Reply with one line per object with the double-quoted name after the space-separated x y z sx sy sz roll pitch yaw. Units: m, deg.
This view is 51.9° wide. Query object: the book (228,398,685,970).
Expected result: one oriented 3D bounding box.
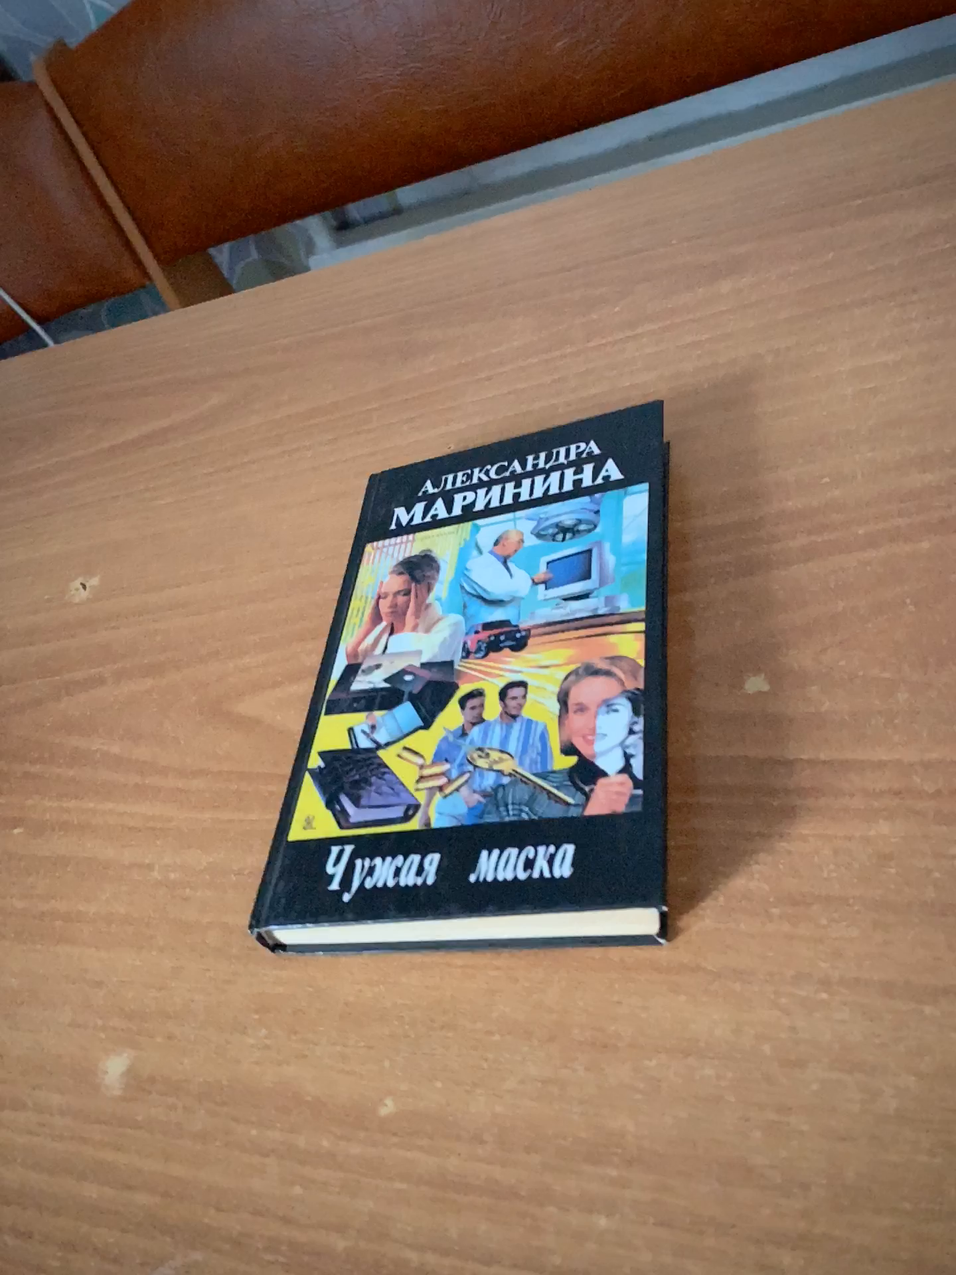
0.003 0.008 0.339 0.130 0.030 0.201 -10 48 23 "book"
